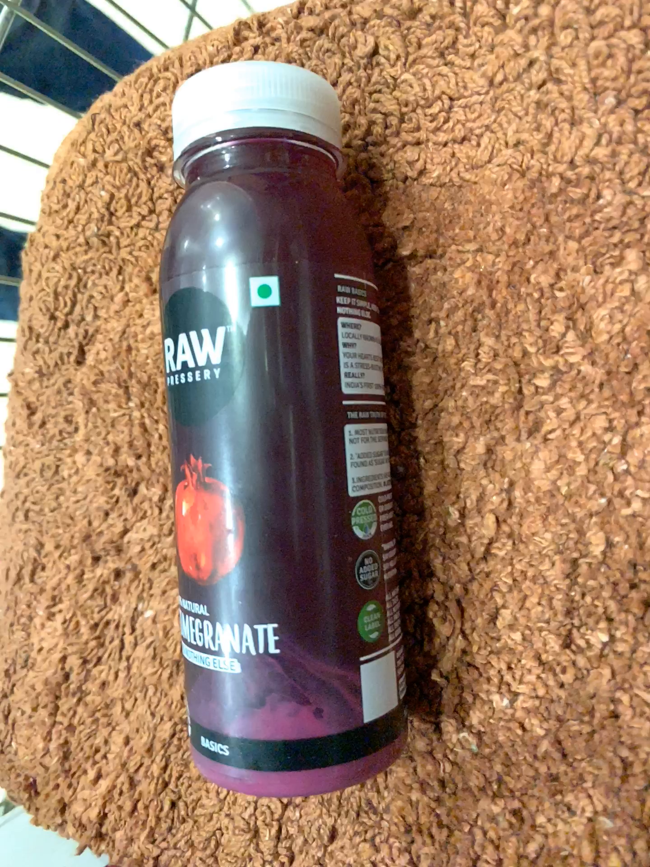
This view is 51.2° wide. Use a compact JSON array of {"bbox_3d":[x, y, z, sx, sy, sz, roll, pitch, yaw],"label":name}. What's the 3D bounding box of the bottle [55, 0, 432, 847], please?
[{"bbox_3d":[-0.014,-0.001,0.139,0.050,0.040,0.140,-1,97,32],"label":"bottle"}]
